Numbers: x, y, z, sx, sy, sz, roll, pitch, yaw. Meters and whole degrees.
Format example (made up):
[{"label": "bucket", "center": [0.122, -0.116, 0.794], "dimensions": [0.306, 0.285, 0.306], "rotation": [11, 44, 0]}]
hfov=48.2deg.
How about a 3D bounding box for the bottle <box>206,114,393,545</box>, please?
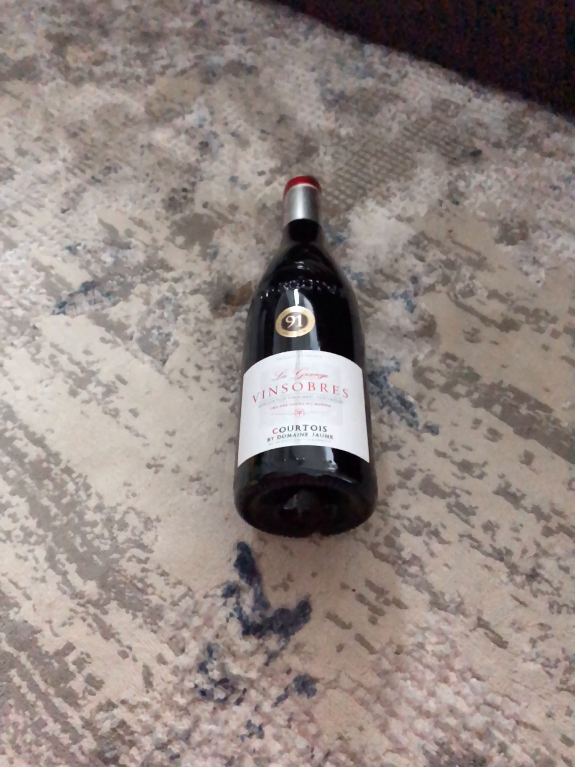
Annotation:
[{"label": "bottle", "center": [0.010, -0.053, 0.440], "dimensions": [0.090, 0.100, 0.301], "rotation": [-1, 54, 3]}]
